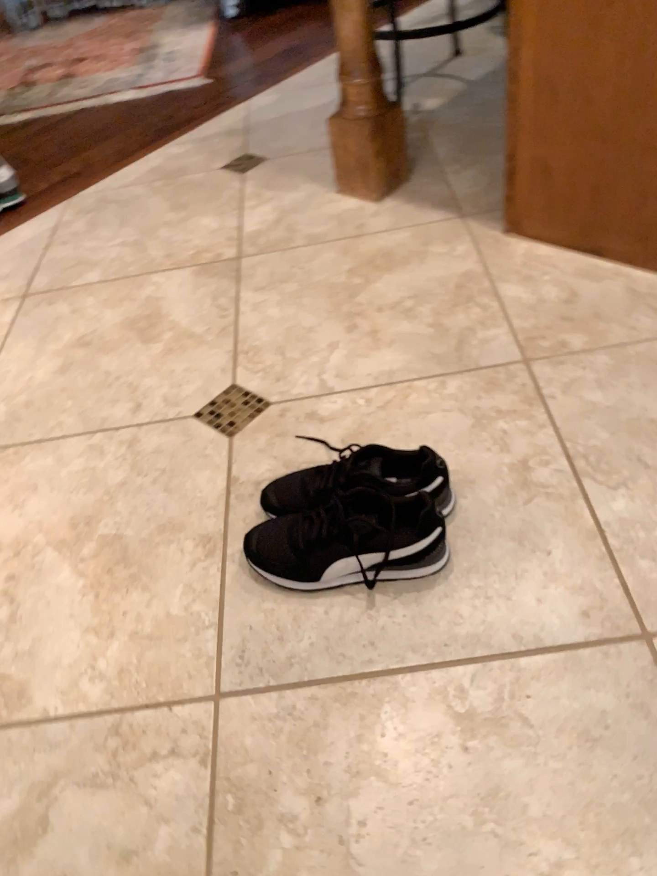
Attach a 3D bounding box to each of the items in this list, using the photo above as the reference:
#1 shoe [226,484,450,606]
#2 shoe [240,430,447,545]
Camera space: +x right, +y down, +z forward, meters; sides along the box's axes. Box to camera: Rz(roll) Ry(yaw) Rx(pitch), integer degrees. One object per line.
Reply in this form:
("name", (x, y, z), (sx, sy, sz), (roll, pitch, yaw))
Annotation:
("shoe", (0.017, 0.141, 0.884), (0.269, 0.095, 0.109), (-4, 43, 9))
("shoe", (0.025, 0.071, 0.952), (0.269, 0.095, 0.109), (-4, 45, 9))
